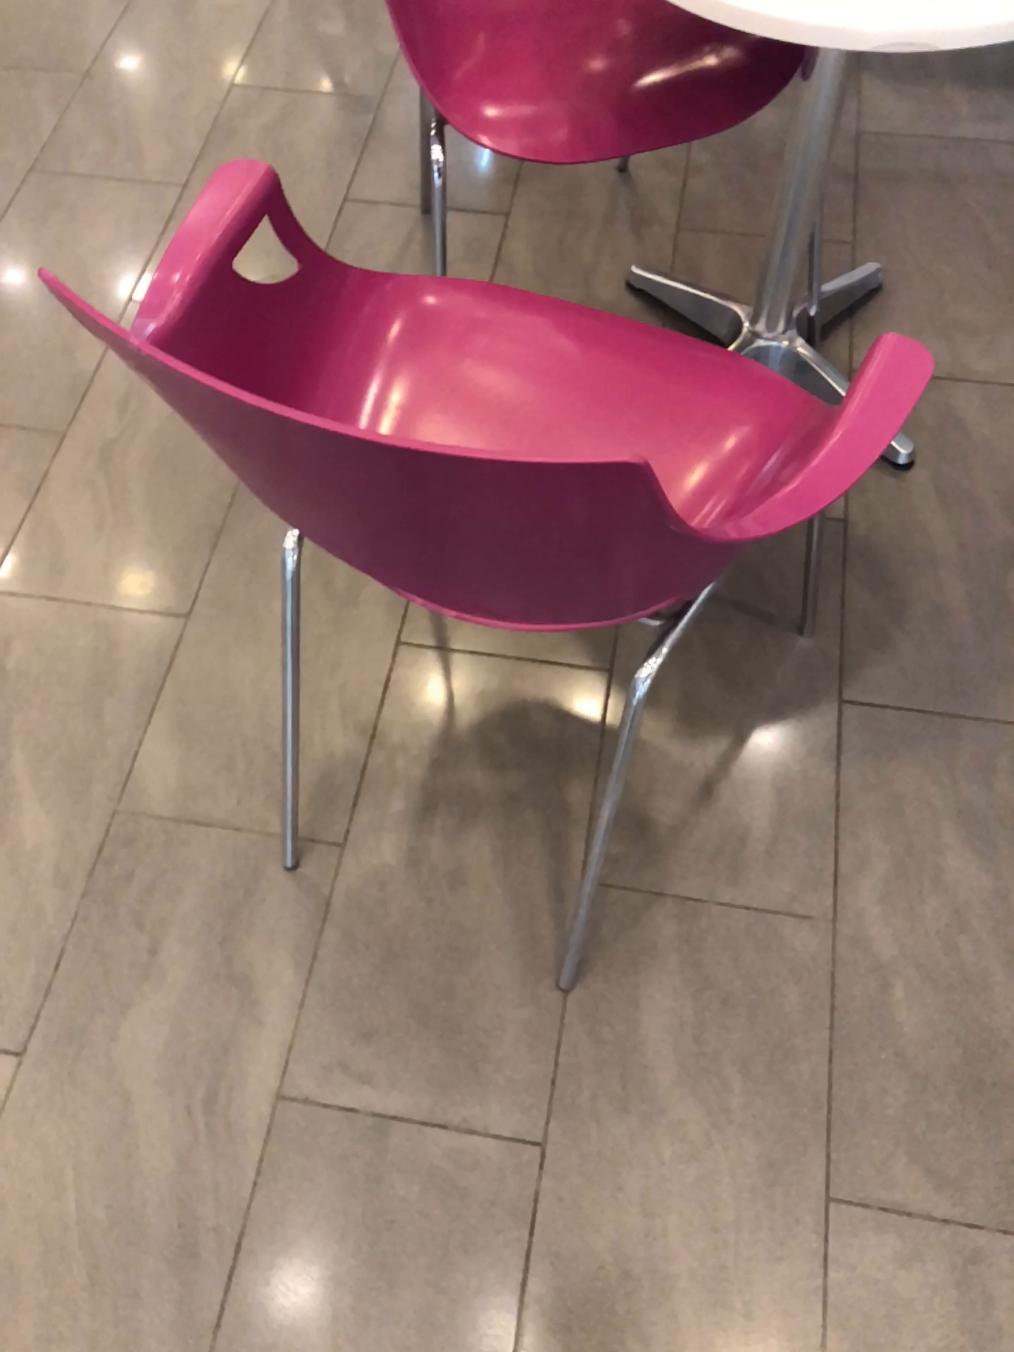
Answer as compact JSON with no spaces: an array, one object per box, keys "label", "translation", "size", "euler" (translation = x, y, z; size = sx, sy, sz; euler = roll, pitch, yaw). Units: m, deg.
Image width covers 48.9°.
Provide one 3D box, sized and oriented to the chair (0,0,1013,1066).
[{"label":"chair","translation":[0.013,-0.155,1.098],"size":[0.620,0.838,0.671],"euler":[21,63,16]}]
